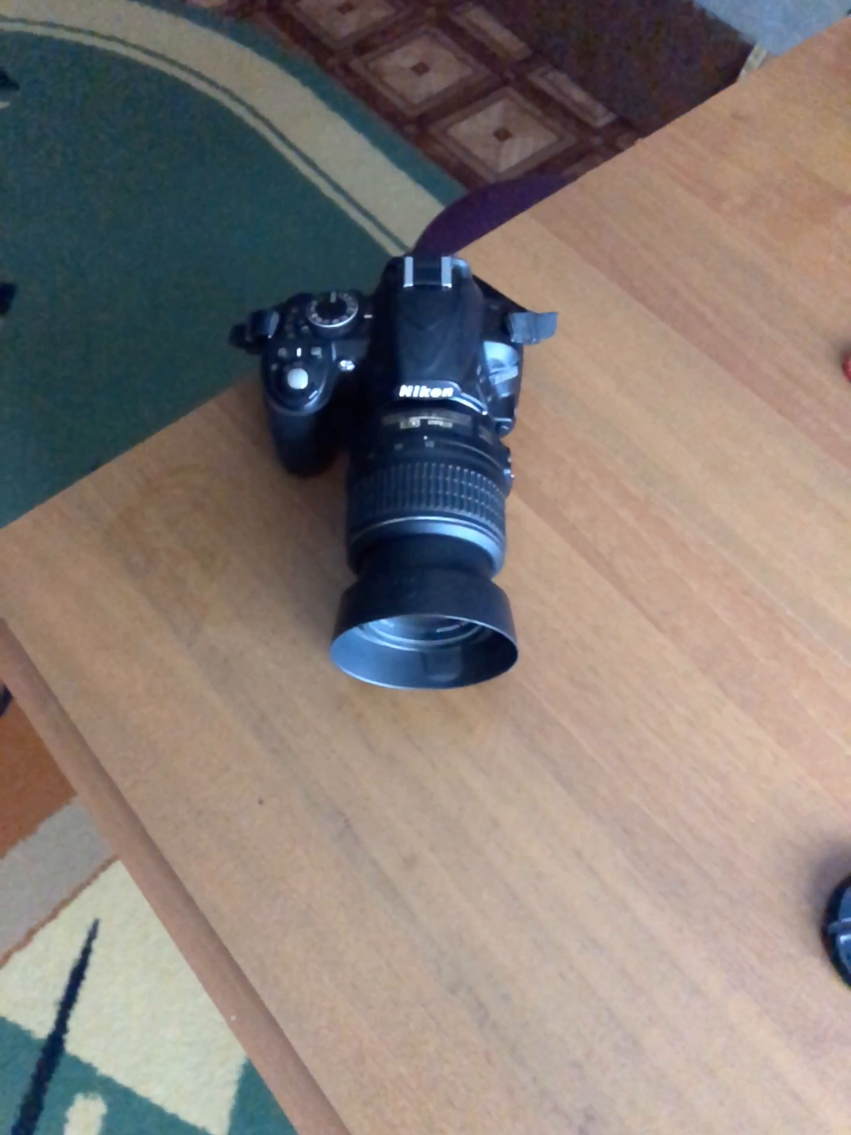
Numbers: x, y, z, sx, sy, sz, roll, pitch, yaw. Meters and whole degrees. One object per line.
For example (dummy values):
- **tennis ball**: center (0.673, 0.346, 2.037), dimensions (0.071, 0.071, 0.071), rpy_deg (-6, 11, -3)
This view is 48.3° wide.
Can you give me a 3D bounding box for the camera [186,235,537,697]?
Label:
- **camera**: center (-0.018, -0.047, 0.430), dimensions (0.129, 0.092, 0.183), rpy_deg (2, 62, 2)
